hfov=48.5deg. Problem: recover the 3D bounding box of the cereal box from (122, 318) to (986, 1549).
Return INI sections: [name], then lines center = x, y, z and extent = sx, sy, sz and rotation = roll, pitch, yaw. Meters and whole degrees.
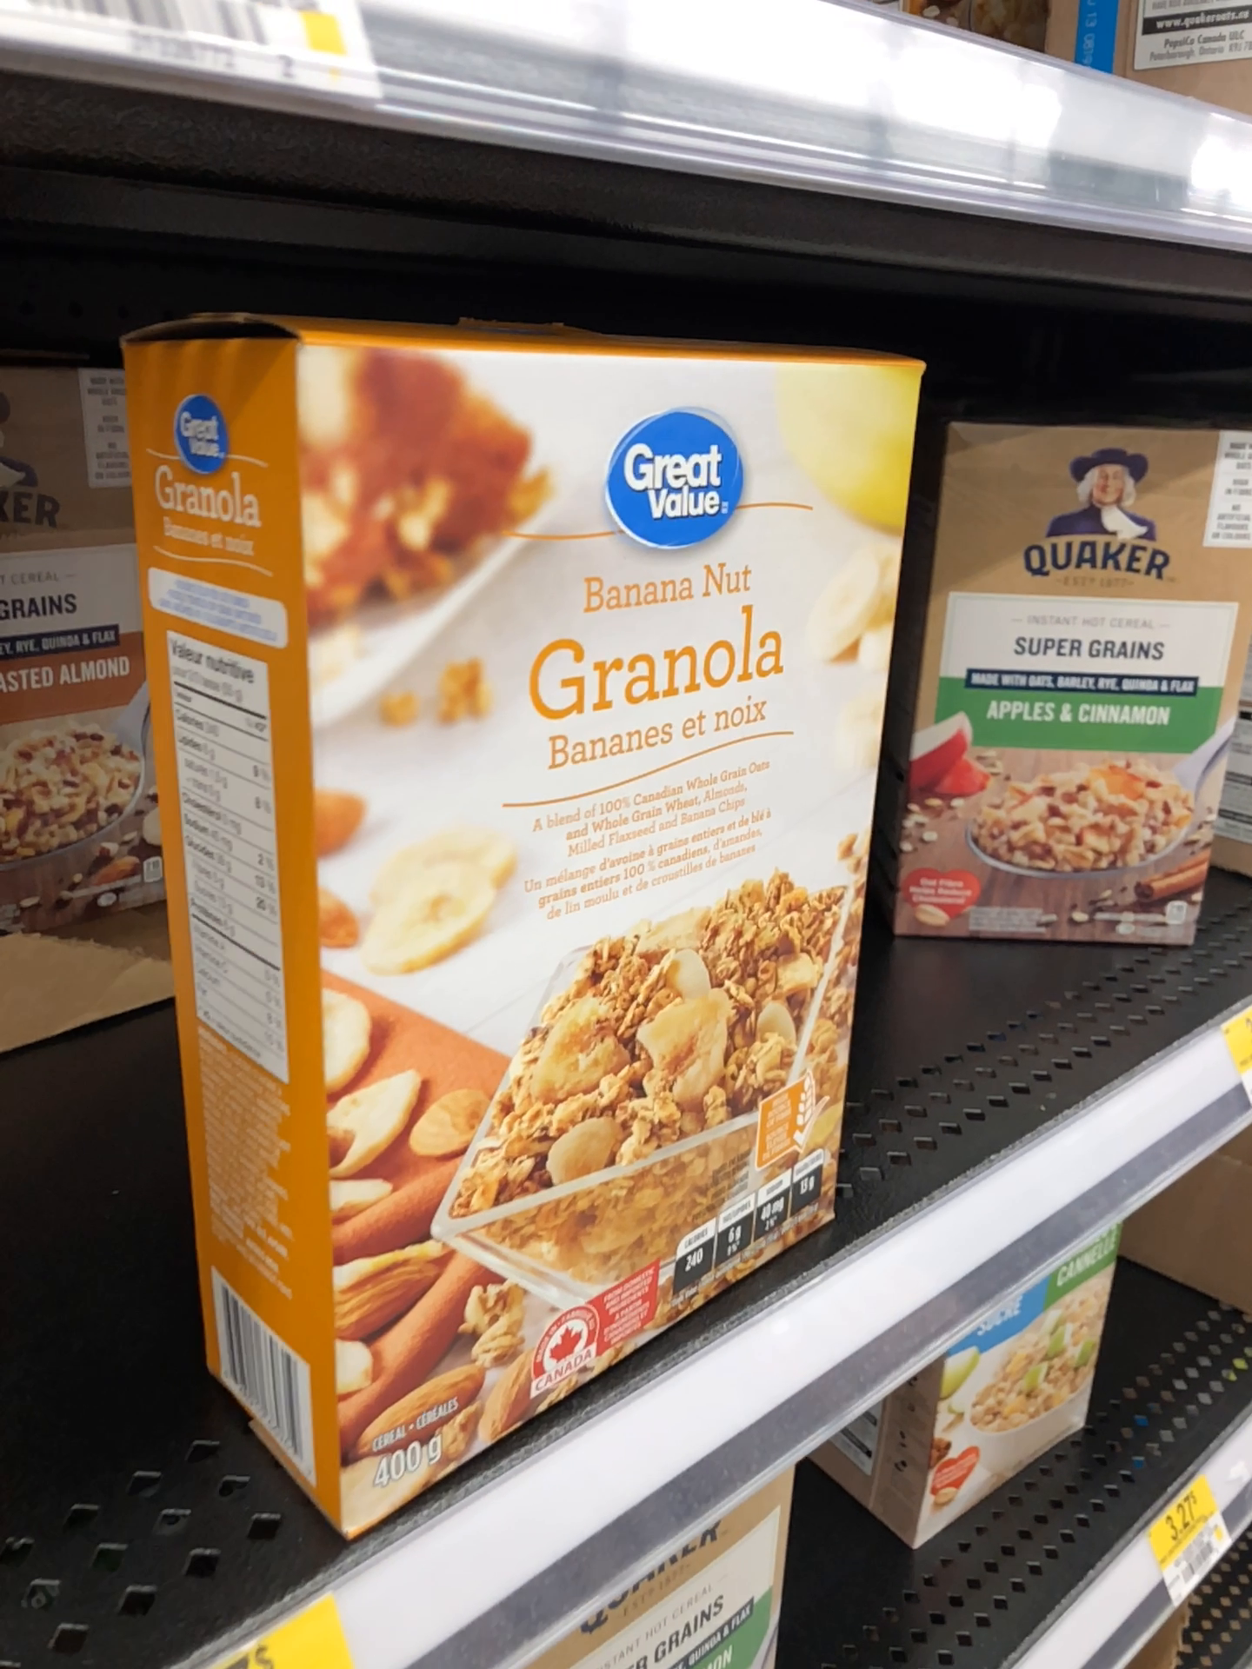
[cereal box]
center = -0.008, 0.007, 0.292
extent = 0.161, 0.209, 0.060
rotation = -16, 27, -42
